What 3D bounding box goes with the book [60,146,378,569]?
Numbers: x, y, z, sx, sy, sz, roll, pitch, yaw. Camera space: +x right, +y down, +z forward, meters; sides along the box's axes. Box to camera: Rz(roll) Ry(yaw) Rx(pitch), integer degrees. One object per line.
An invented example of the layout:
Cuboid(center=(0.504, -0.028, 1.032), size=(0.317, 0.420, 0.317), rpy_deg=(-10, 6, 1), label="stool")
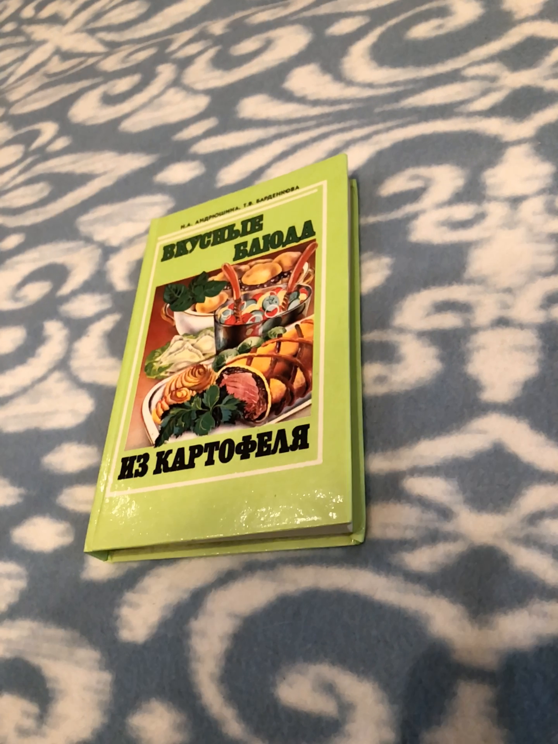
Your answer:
Cuboid(center=(-0.024, -0.013, 0.306), size=(0.136, 0.025, 0.201), rpy_deg=(-12, 55, 23), label="book")
